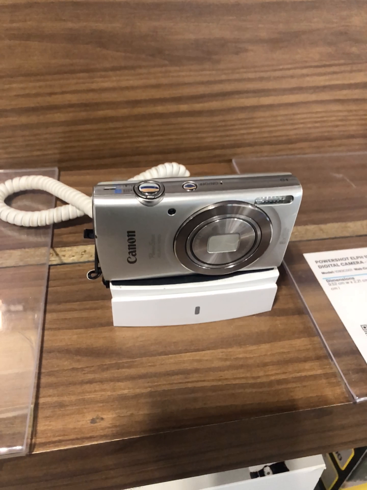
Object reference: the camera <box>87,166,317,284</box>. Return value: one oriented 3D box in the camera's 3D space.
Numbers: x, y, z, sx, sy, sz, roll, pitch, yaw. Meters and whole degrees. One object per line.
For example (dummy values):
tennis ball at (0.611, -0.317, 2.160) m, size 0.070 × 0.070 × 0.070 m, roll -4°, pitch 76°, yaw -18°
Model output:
camera at (0.007, -0.009, 0.199) m, size 0.100 × 0.050 × 0.020 m, roll -4°, pitch 44°, yaw -8°
